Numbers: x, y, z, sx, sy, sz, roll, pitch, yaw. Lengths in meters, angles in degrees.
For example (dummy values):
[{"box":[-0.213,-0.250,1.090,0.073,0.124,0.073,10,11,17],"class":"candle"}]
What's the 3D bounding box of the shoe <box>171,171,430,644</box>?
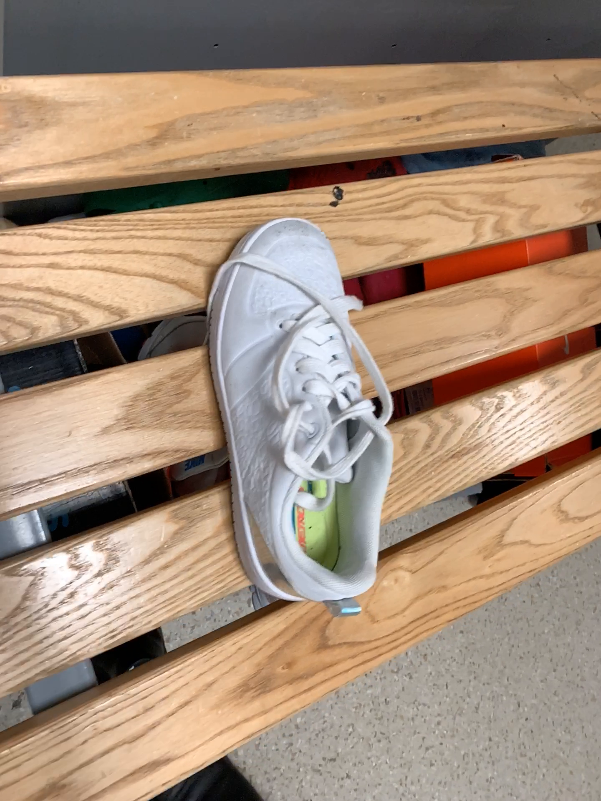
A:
[{"box":[-0.004,0.000,0.377,0.100,0.076,0.250,-7,87,-26],"class":"shoe"}]
